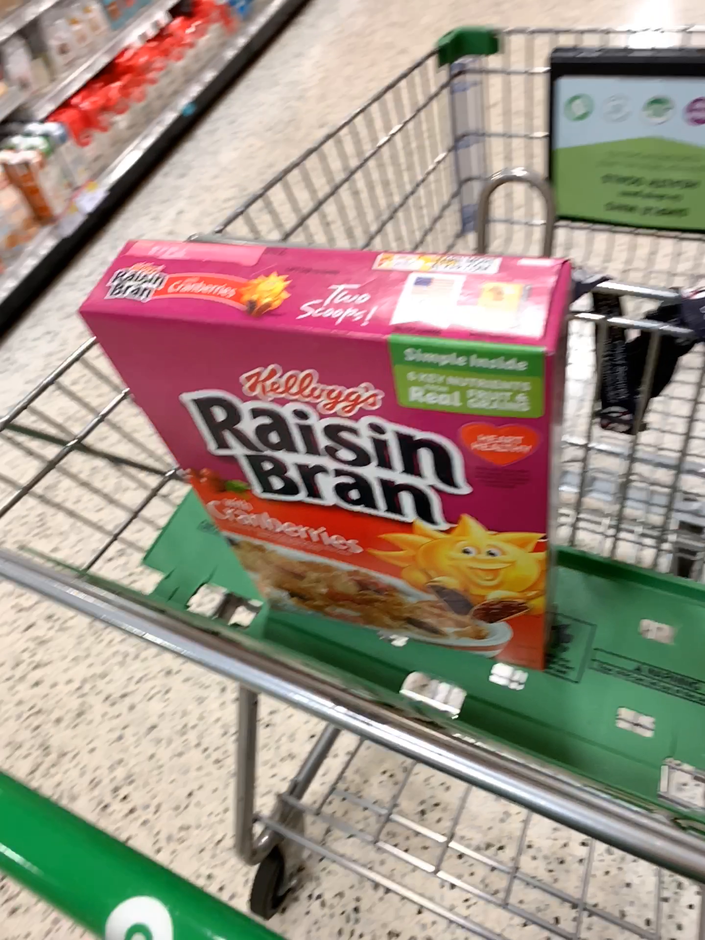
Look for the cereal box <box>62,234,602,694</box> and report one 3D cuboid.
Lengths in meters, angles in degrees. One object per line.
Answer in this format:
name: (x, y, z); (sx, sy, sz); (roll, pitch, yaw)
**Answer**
cereal box: (0.016, 0.023, 0.413); (0.210, 0.327, 0.050); (9, 58, 20)
